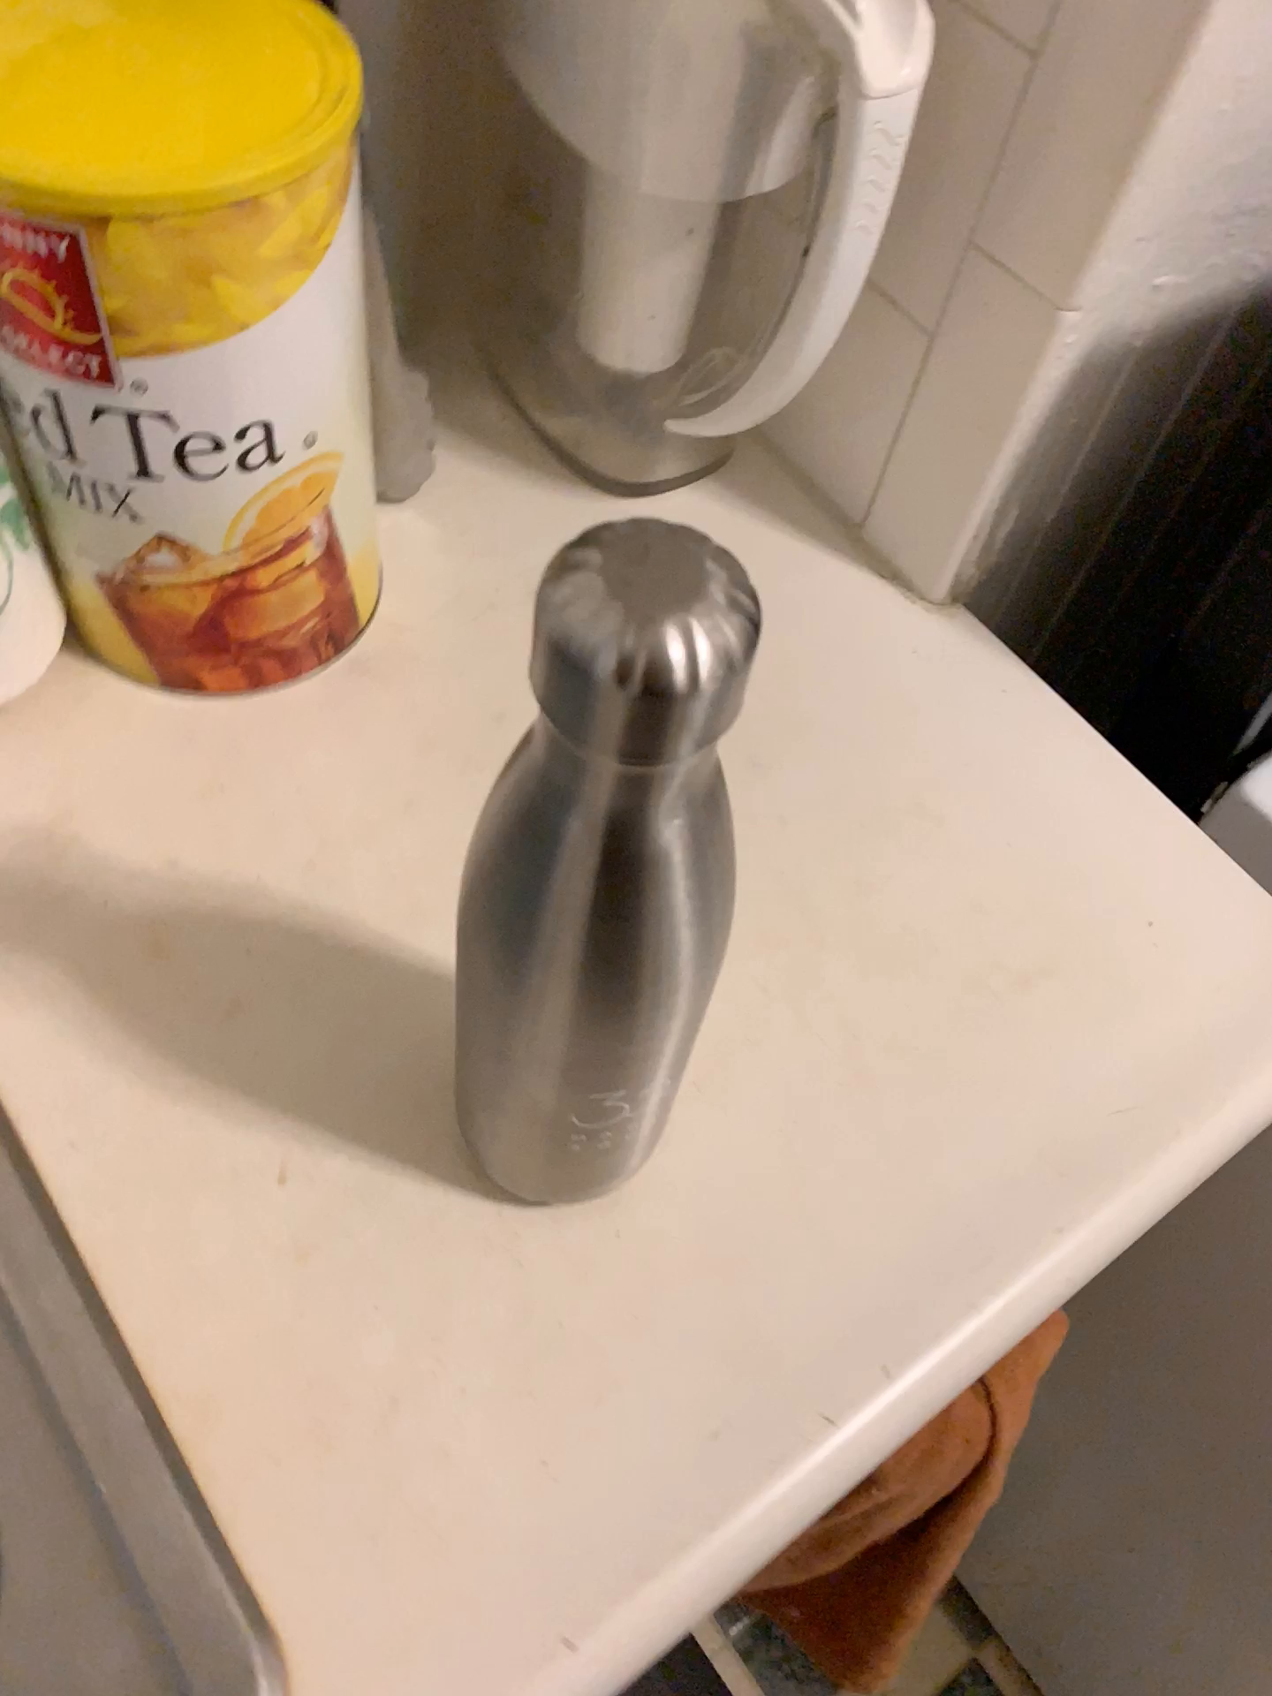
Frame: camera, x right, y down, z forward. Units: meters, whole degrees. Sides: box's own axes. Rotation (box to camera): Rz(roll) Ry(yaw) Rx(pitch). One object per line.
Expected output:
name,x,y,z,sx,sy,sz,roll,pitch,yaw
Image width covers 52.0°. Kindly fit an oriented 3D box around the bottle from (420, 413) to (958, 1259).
bottle,-0.008,0.021,0.332,0.070,0.249,0.070,4,56,-6
